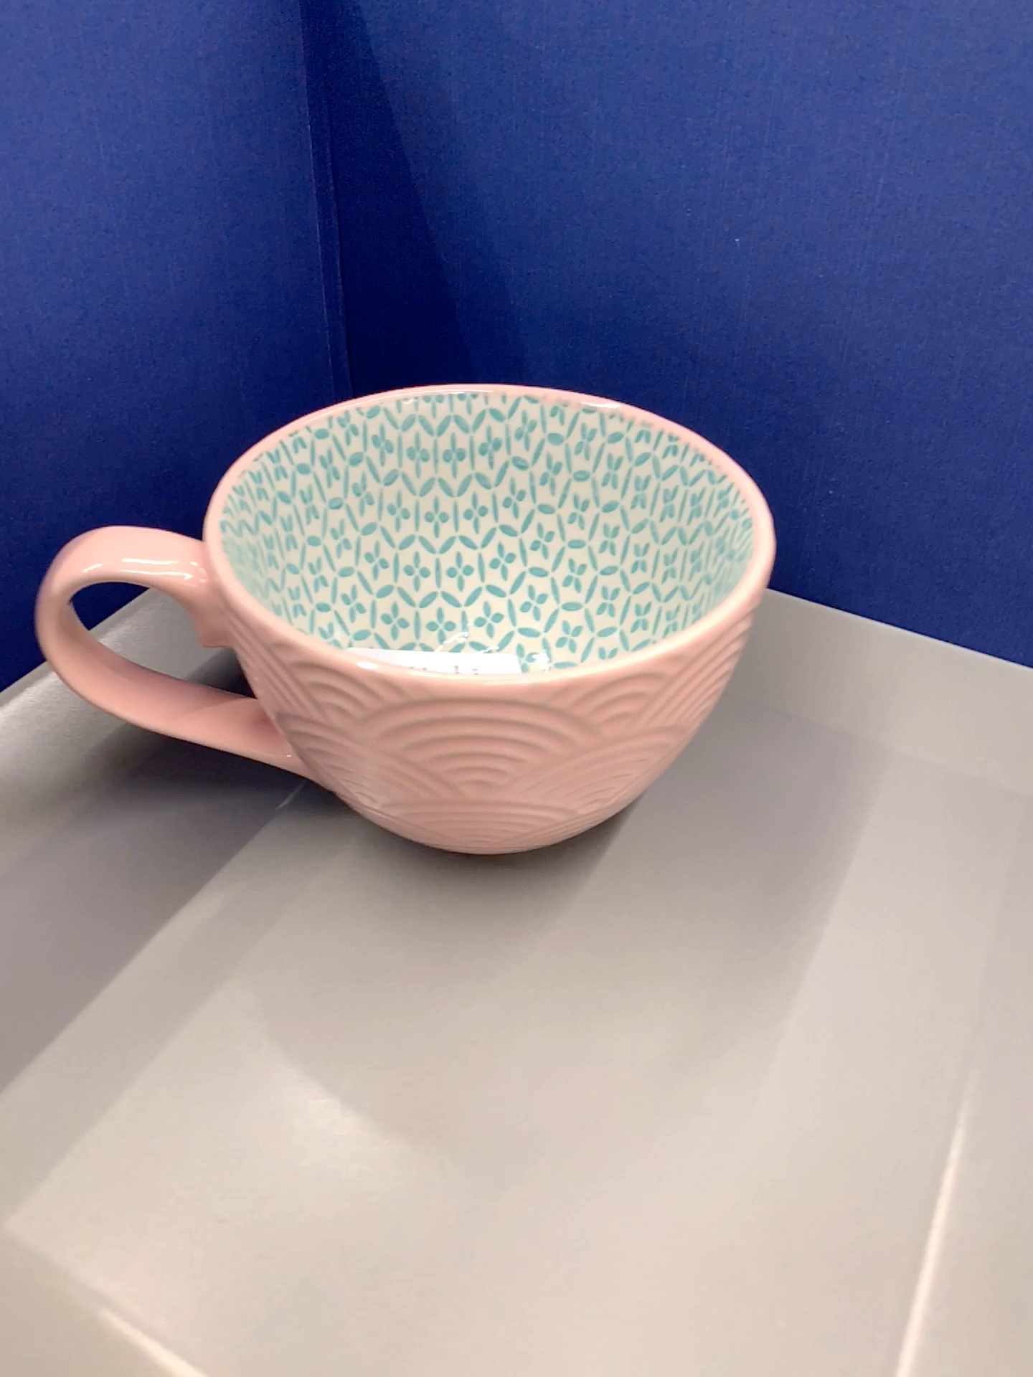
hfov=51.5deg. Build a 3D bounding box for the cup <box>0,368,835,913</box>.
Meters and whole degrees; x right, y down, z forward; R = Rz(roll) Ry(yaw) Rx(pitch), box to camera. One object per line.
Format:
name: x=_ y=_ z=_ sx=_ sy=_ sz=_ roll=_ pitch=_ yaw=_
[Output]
cup: x=-0.024 y=-0.016 z=0.241 sx=0.150 sy=0.064 sz=0.105 roll=-2 pitch=47 yaw=-5
